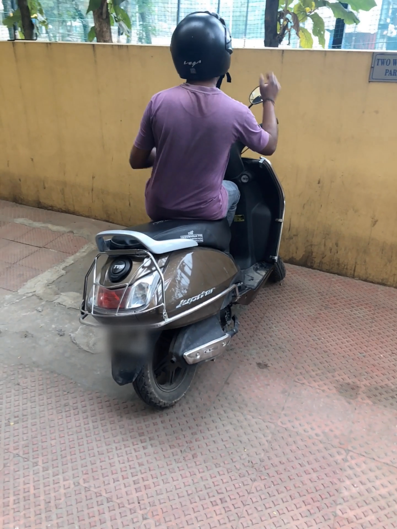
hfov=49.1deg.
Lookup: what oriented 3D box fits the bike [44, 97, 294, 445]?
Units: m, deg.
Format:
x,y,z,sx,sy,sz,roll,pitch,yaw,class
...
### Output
x,y,z,sx,sy,sz,roll,pitch,yaw,class
0.012,-0.196,2.435,0.644,1.182,1.722,11,29,18,bike
